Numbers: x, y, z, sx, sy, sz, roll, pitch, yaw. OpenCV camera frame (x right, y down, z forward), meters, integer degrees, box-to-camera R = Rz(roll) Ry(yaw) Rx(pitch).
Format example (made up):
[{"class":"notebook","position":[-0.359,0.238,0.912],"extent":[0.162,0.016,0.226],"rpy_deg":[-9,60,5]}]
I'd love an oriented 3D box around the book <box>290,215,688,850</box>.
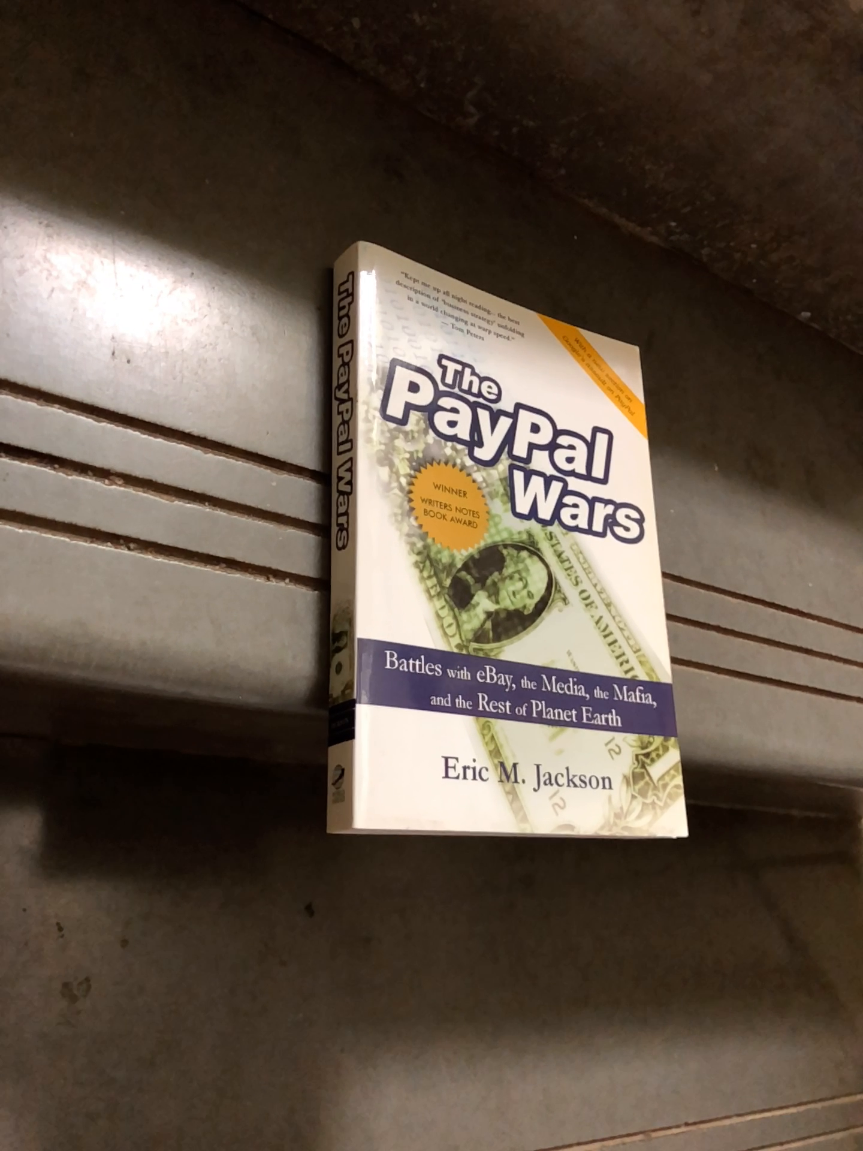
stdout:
[{"class":"book","position":[0.024,-0.010,0.366],"extent":[0.151,0.030,0.220],"rpy_deg":[11,68,-33]}]
